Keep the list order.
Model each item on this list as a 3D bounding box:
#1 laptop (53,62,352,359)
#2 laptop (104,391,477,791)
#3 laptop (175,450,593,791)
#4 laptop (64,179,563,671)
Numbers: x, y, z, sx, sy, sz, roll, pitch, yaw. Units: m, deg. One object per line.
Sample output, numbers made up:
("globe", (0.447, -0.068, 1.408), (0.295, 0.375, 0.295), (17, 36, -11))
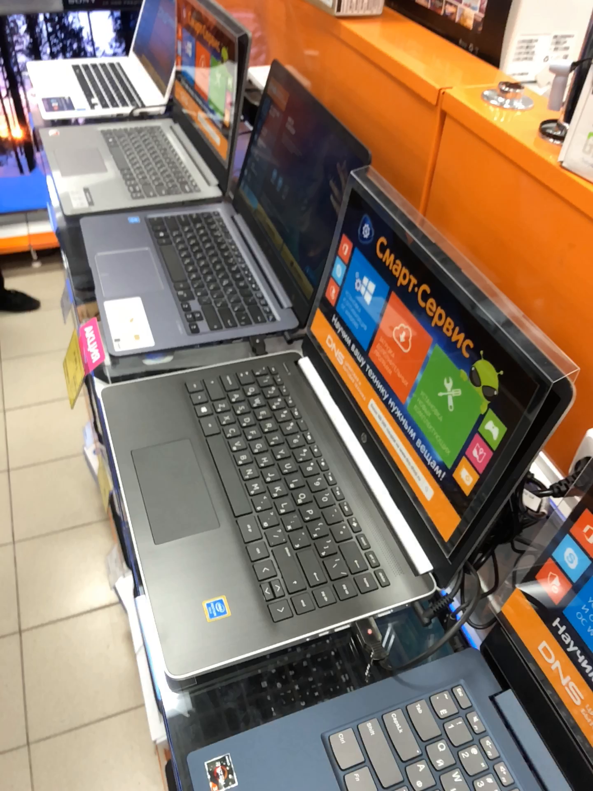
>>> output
("laptop", (-0.123, -0.248, 0.804), (0.279, 0.198, 0.314), (-11, 45, -19))
("laptop", (-0.037, 0.225, 0.707), (0.251, 0.245, 0.364), (-11, 44, -17))
("laptop", (0.095, 0.220, 0.294), (0.248, 0.205, 0.277), (-11, 43, -15))
("laptop", (-0.018, -0.005, 0.546), (0.267, 0.197, 0.314), (-12, 45, -17))
